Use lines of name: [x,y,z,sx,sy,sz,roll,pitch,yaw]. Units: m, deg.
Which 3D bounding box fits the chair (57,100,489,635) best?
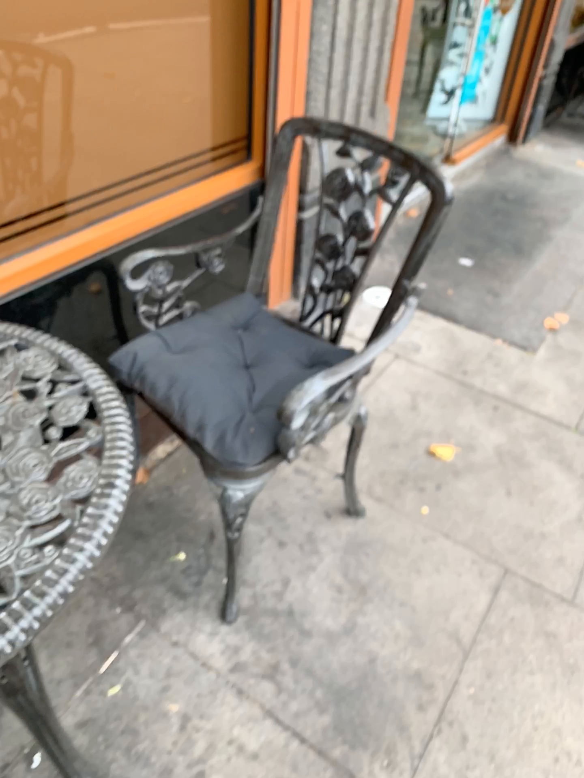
chair: [-0.061,-0.070,1.274,0.492,0.852,0.553,31,41,29]
